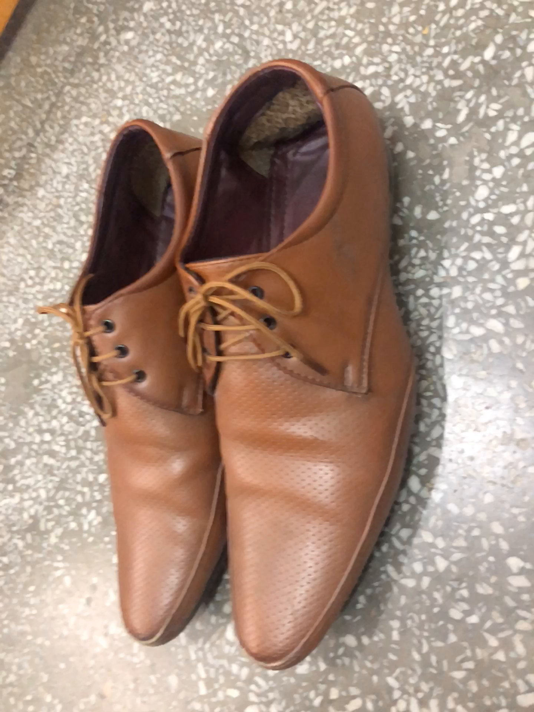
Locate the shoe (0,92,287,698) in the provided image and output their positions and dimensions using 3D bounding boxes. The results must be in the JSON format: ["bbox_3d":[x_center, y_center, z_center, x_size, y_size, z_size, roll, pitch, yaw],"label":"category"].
[{"bbox_3d":[-0.071,0.019,0.356,0.106,0.117,0.284,-4,79,36],"label":"shoe"}]

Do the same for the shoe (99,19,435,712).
[{"bbox_3d":[0.011,0.014,0.299,0.106,0.117,0.284,-4,79,36],"label":"shoe"}]
